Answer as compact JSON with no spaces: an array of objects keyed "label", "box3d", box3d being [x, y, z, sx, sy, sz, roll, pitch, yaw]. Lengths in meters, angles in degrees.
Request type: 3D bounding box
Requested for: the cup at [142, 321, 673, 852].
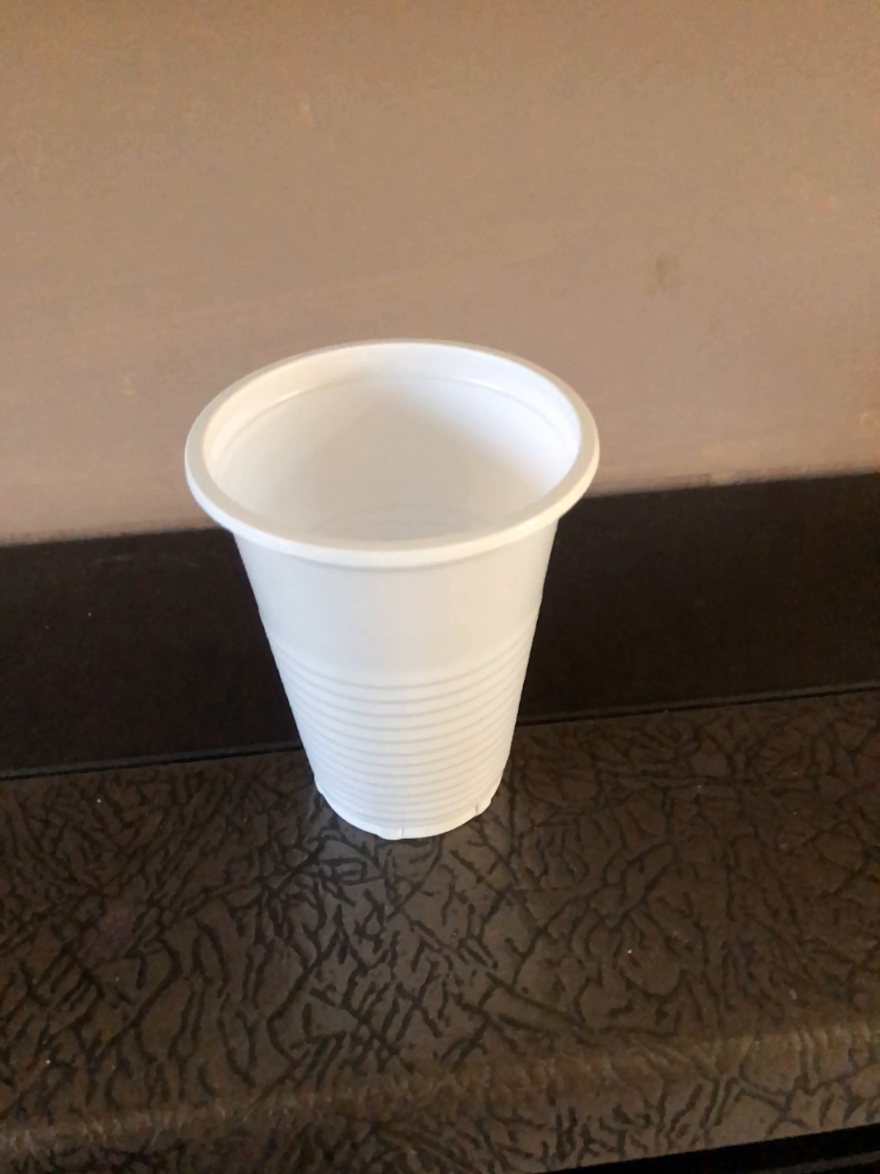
[{"label":"cup","box3d":[-0.005,-0.001,0.198,0.079,0.073,0.073,-1,41,1]}]
